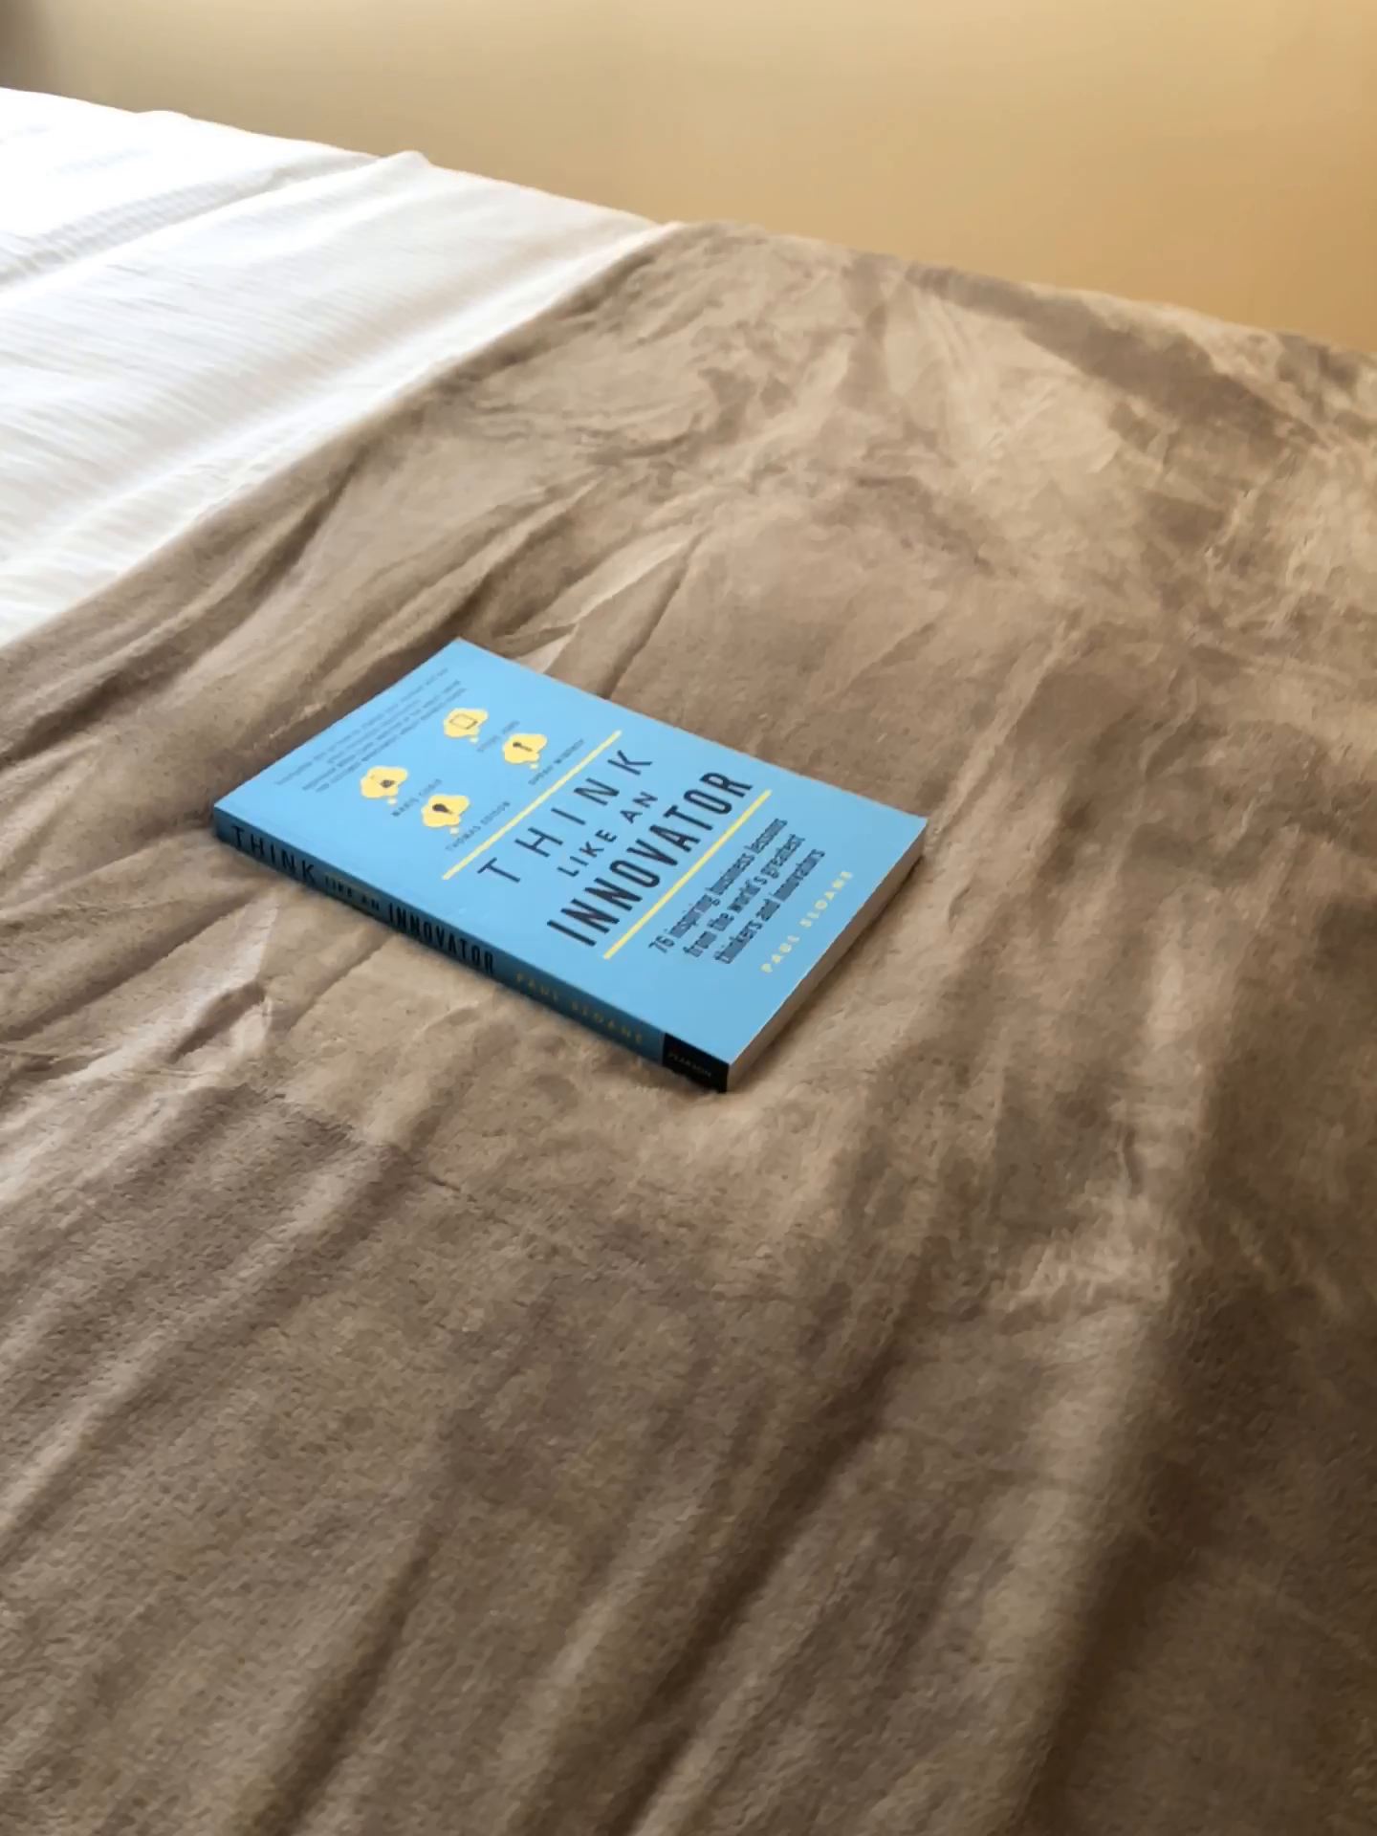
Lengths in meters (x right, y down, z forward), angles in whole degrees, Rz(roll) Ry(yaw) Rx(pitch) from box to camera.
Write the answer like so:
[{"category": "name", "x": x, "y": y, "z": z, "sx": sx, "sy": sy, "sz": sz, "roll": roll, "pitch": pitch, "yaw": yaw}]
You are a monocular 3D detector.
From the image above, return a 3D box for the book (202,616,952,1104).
[{"category": "book", "x": -0.039, "y": -0.033, "z": 0.533, "sx": 0.220, "sy": 0.020, "sz": 0.141, "roll": 24, "pitch": 48, "yaw": 23}]
